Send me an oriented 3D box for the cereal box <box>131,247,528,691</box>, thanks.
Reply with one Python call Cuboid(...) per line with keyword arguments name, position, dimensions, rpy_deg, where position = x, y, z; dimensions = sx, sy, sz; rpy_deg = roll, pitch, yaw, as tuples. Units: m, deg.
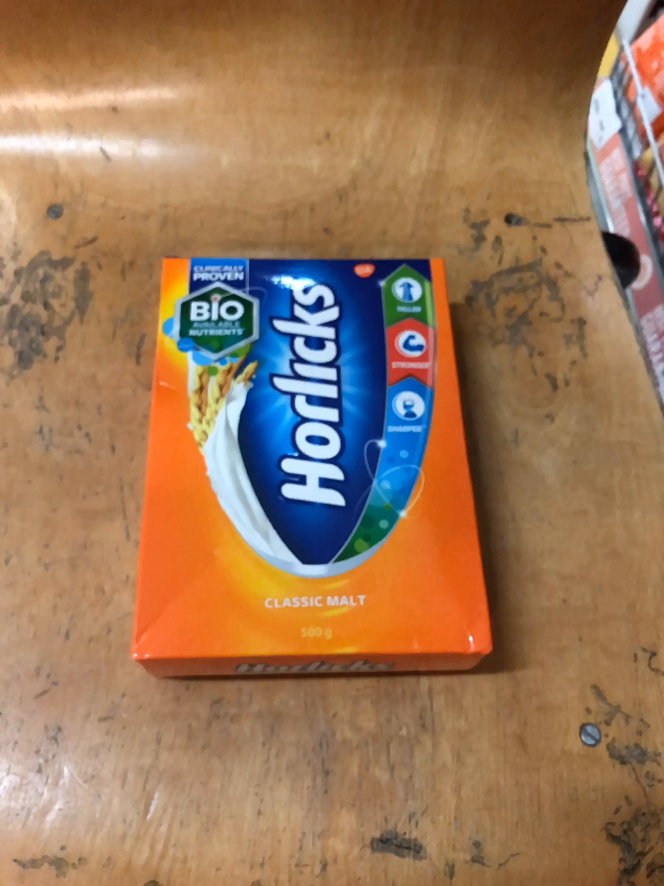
Cuboid(name="cereal box", position=(-0.004, 0.012, 0.334), dimensions=(0.140, 0.080, 0.180), rpy_deg=(0, 67, -3))
